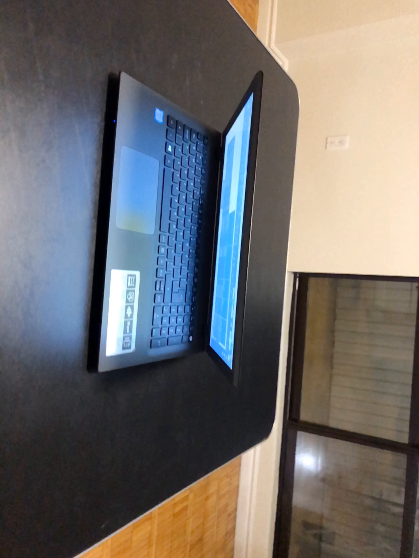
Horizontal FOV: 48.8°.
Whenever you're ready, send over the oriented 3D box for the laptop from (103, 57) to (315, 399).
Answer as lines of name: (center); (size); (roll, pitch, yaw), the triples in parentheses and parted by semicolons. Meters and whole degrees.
laptop: (0.016, -0.054, 0.641); (0.252, 0.155, 0.368); (5, 90, -59)
